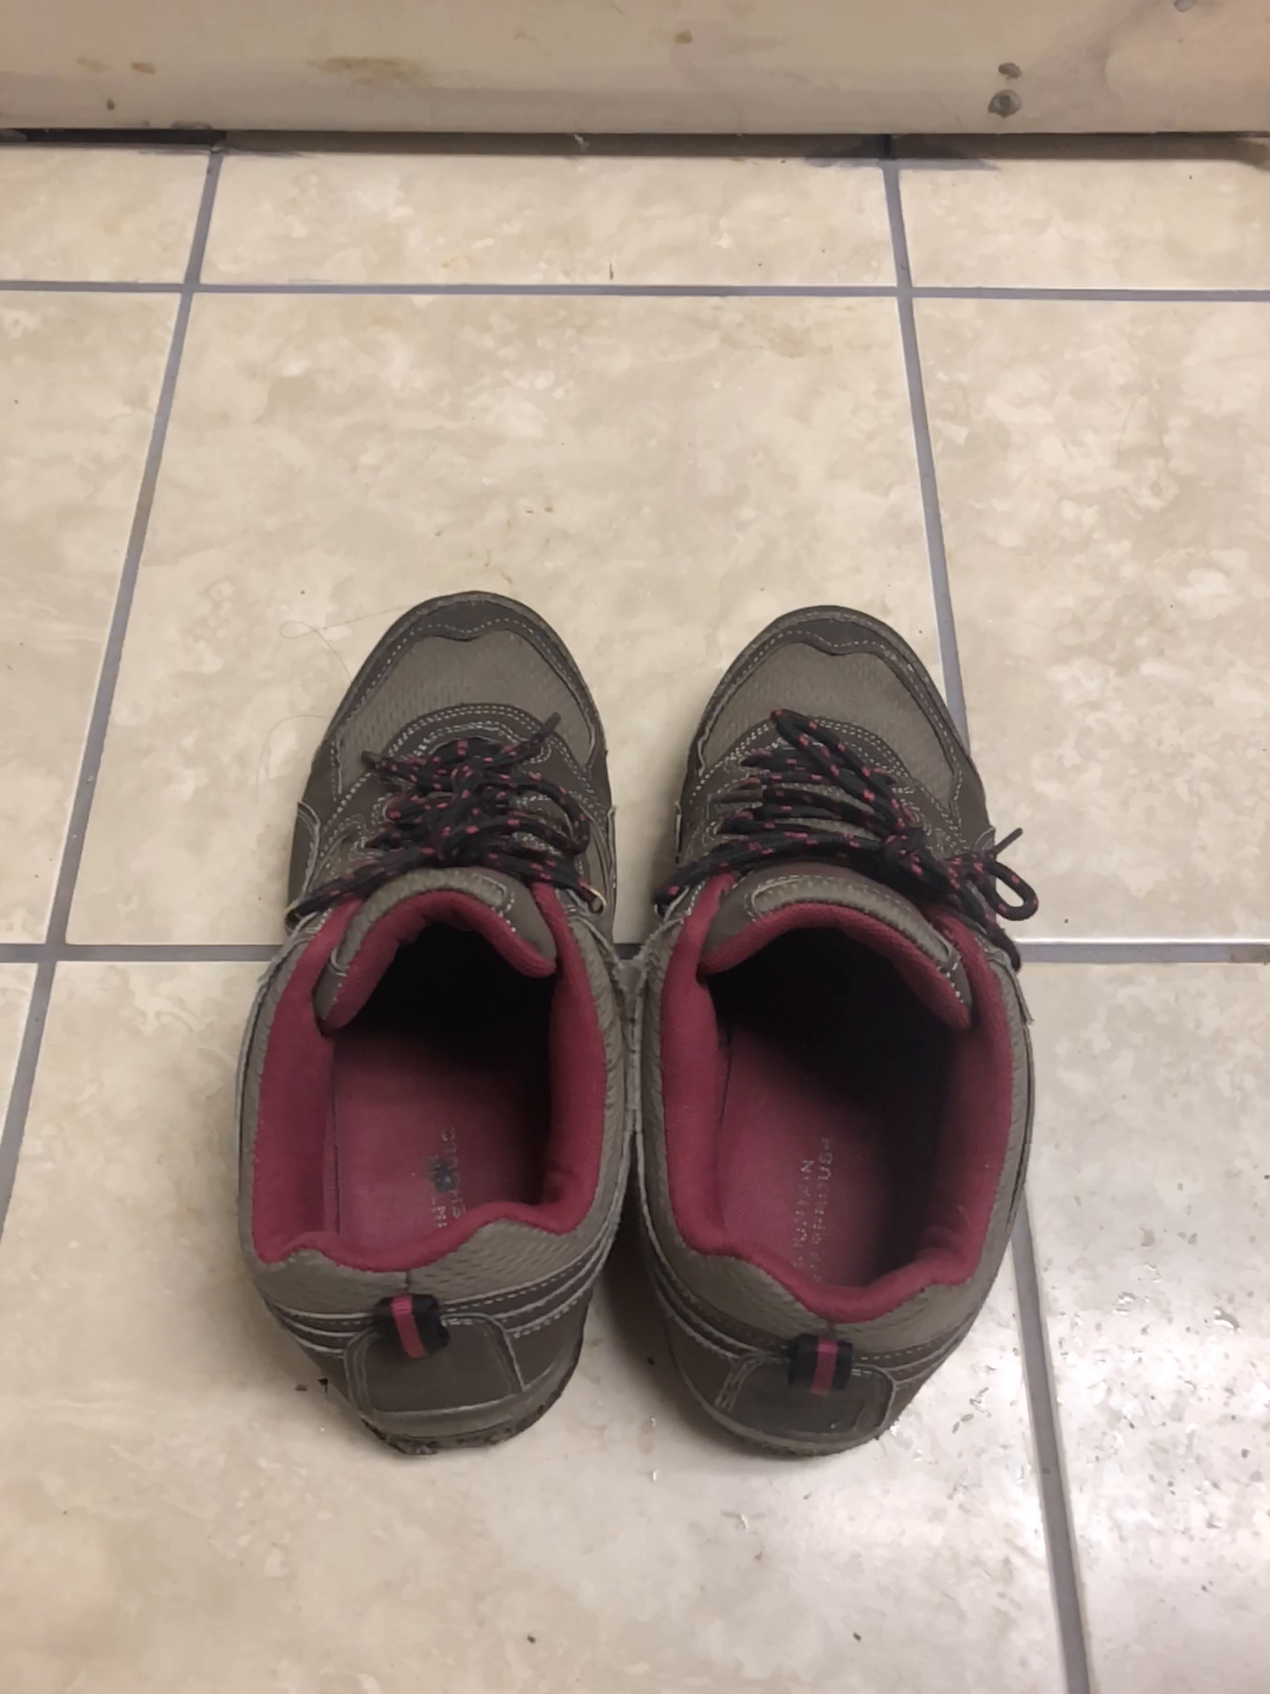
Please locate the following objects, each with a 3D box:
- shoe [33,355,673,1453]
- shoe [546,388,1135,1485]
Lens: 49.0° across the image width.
[{"bbox_3d":[-0.052,0.012,0.377,0.120,0.120,0.271,0,63,0],"label":"shoe"},{"bbox_3d":[0.048,0.021,0.374,0.110,0.120,0.261,4,63,2],"label":"shoe"}]
